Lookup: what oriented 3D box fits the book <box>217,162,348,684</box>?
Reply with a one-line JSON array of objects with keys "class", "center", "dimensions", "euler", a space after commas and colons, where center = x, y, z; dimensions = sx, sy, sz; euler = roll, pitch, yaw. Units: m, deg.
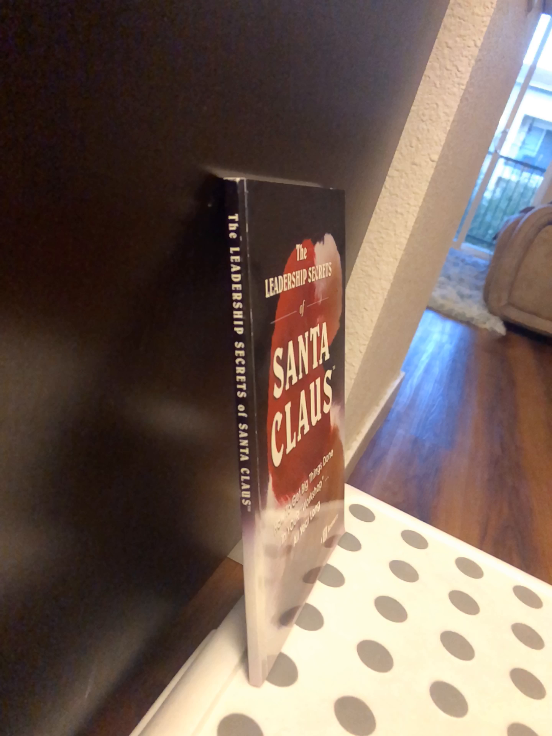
[{"class": "book", "center": [0.014, 0.014, 0.326], "dimensions": [0.010, 0.225, 0.161], "euler": [2, 14, 19]}]
